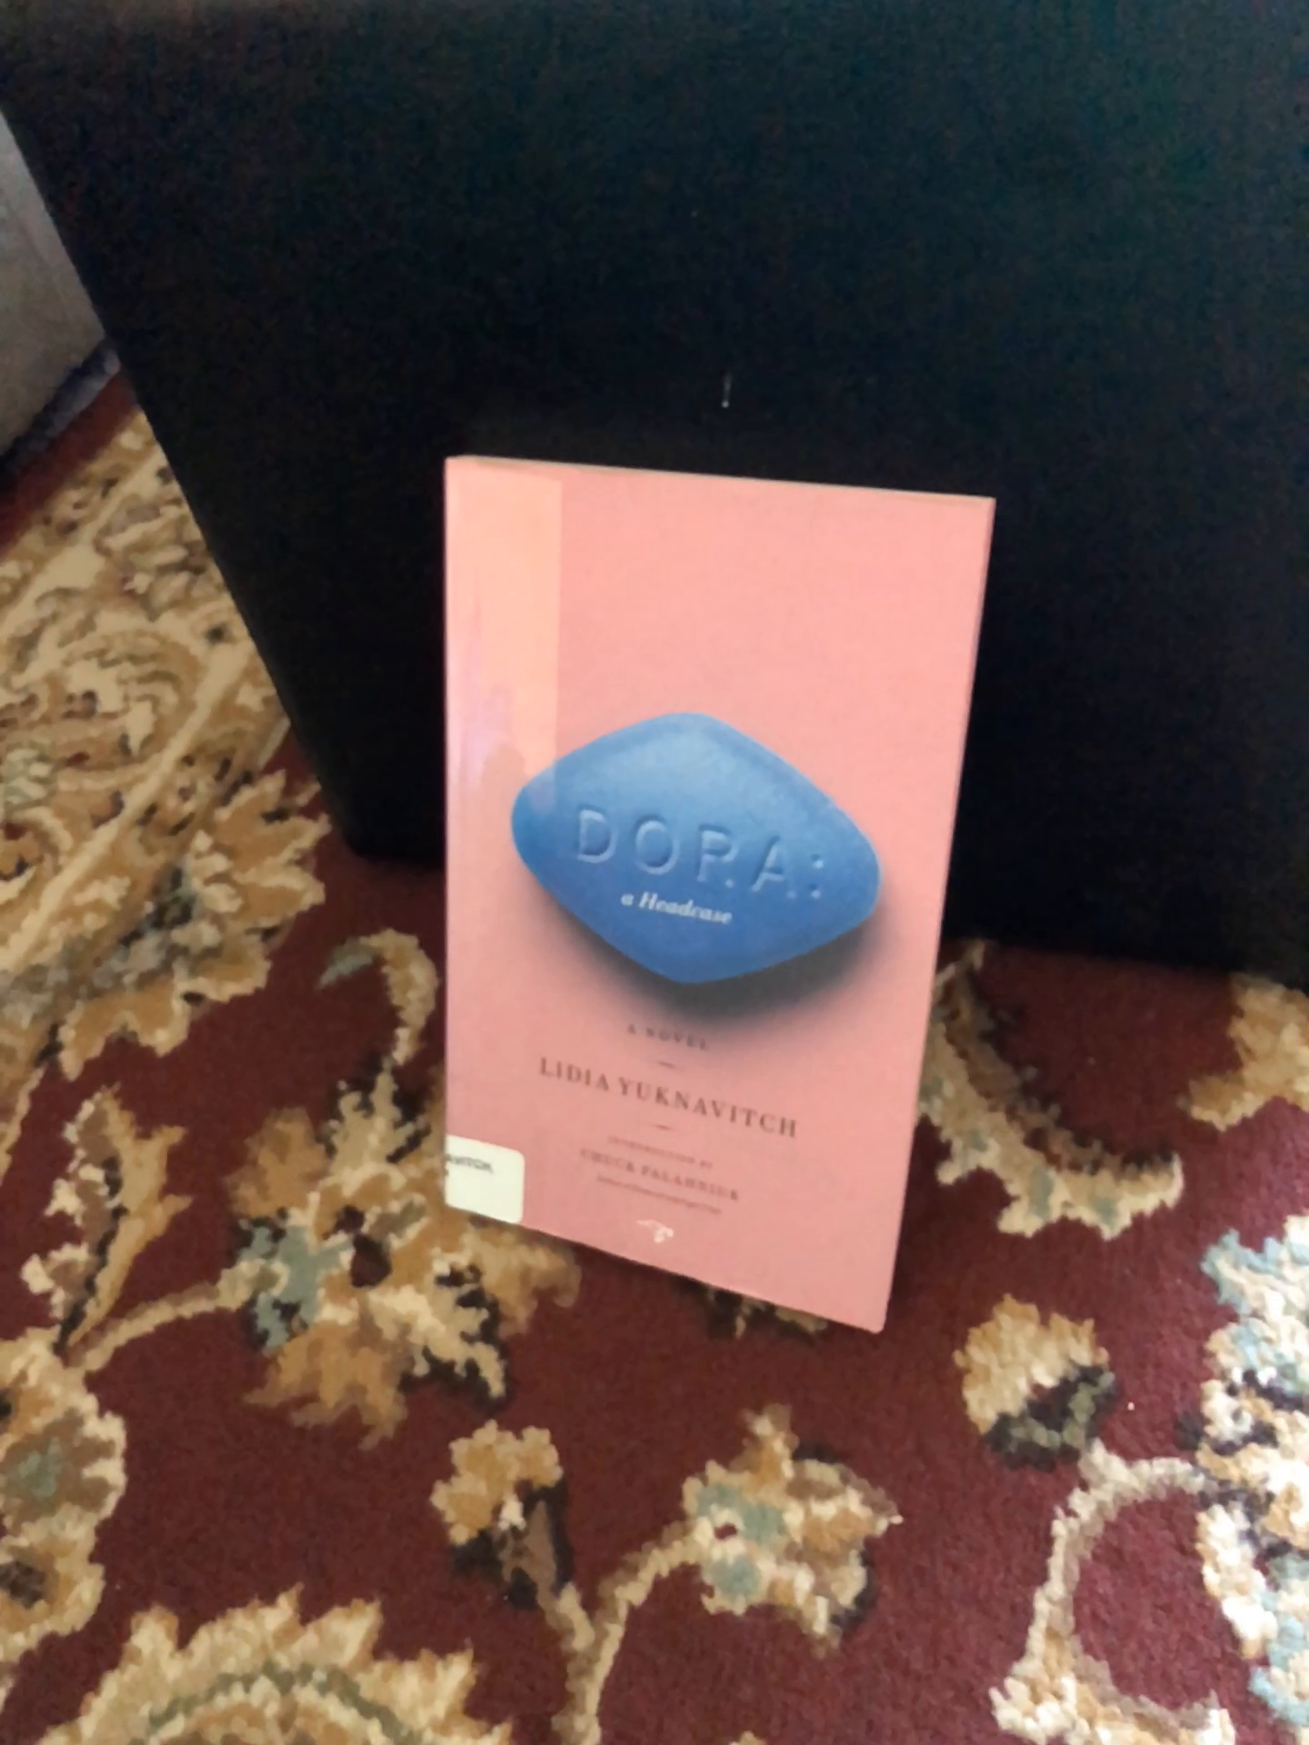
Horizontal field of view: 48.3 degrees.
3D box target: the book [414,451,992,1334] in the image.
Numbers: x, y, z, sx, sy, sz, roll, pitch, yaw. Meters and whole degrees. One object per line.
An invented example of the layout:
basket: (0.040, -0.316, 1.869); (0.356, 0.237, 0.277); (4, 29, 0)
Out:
book: (0.004, 0.005, 0.419); (0.149, 0.231, 0.030); (11, 20, 20)
